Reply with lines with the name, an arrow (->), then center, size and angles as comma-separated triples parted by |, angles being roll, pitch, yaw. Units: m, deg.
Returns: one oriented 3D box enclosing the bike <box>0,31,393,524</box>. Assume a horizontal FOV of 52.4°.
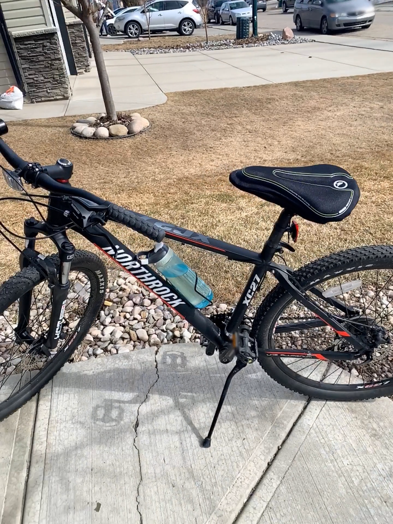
bike -> 0.024, 0.149, 1.019 | 1.478, 1.004, 0.603 | -8, 32, 2
